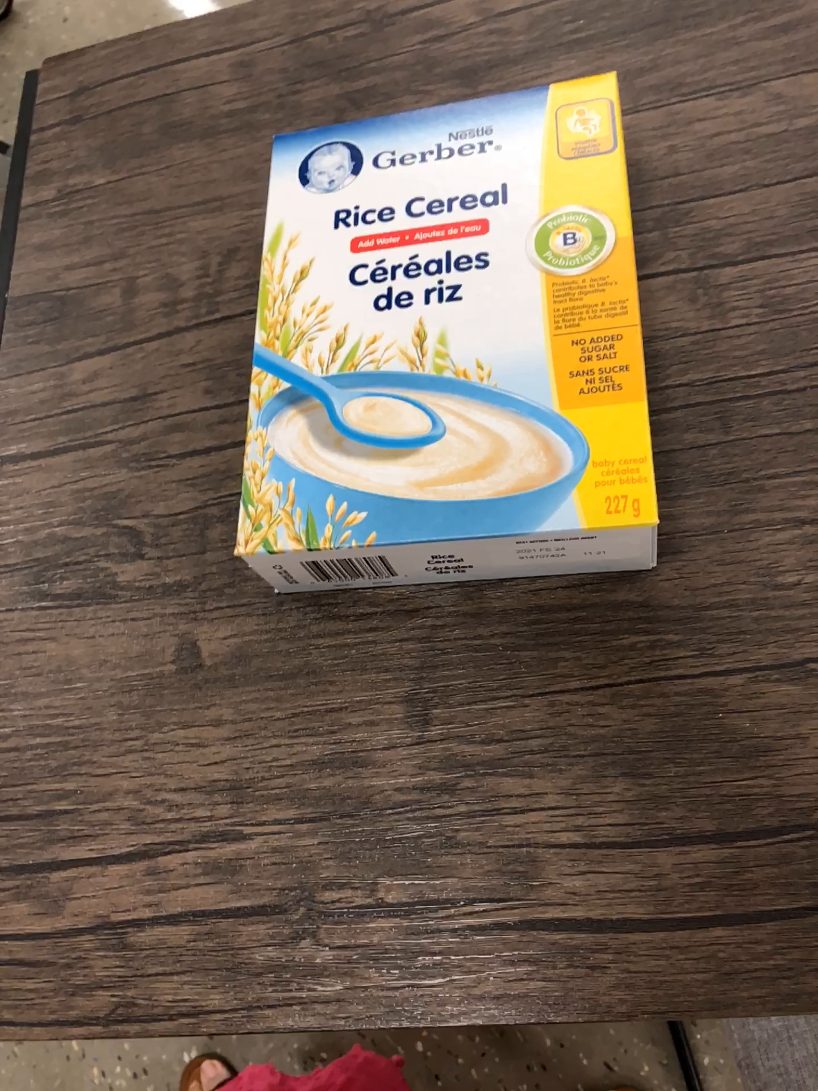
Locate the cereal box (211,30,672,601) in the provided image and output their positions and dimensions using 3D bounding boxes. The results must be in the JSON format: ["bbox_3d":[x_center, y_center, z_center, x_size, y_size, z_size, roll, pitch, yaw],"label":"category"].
[{"bbox_3d":[0.013,-0.086,0.347,0.150,0.050,0.200,-4,69,13],"label":"cereal box"}]
